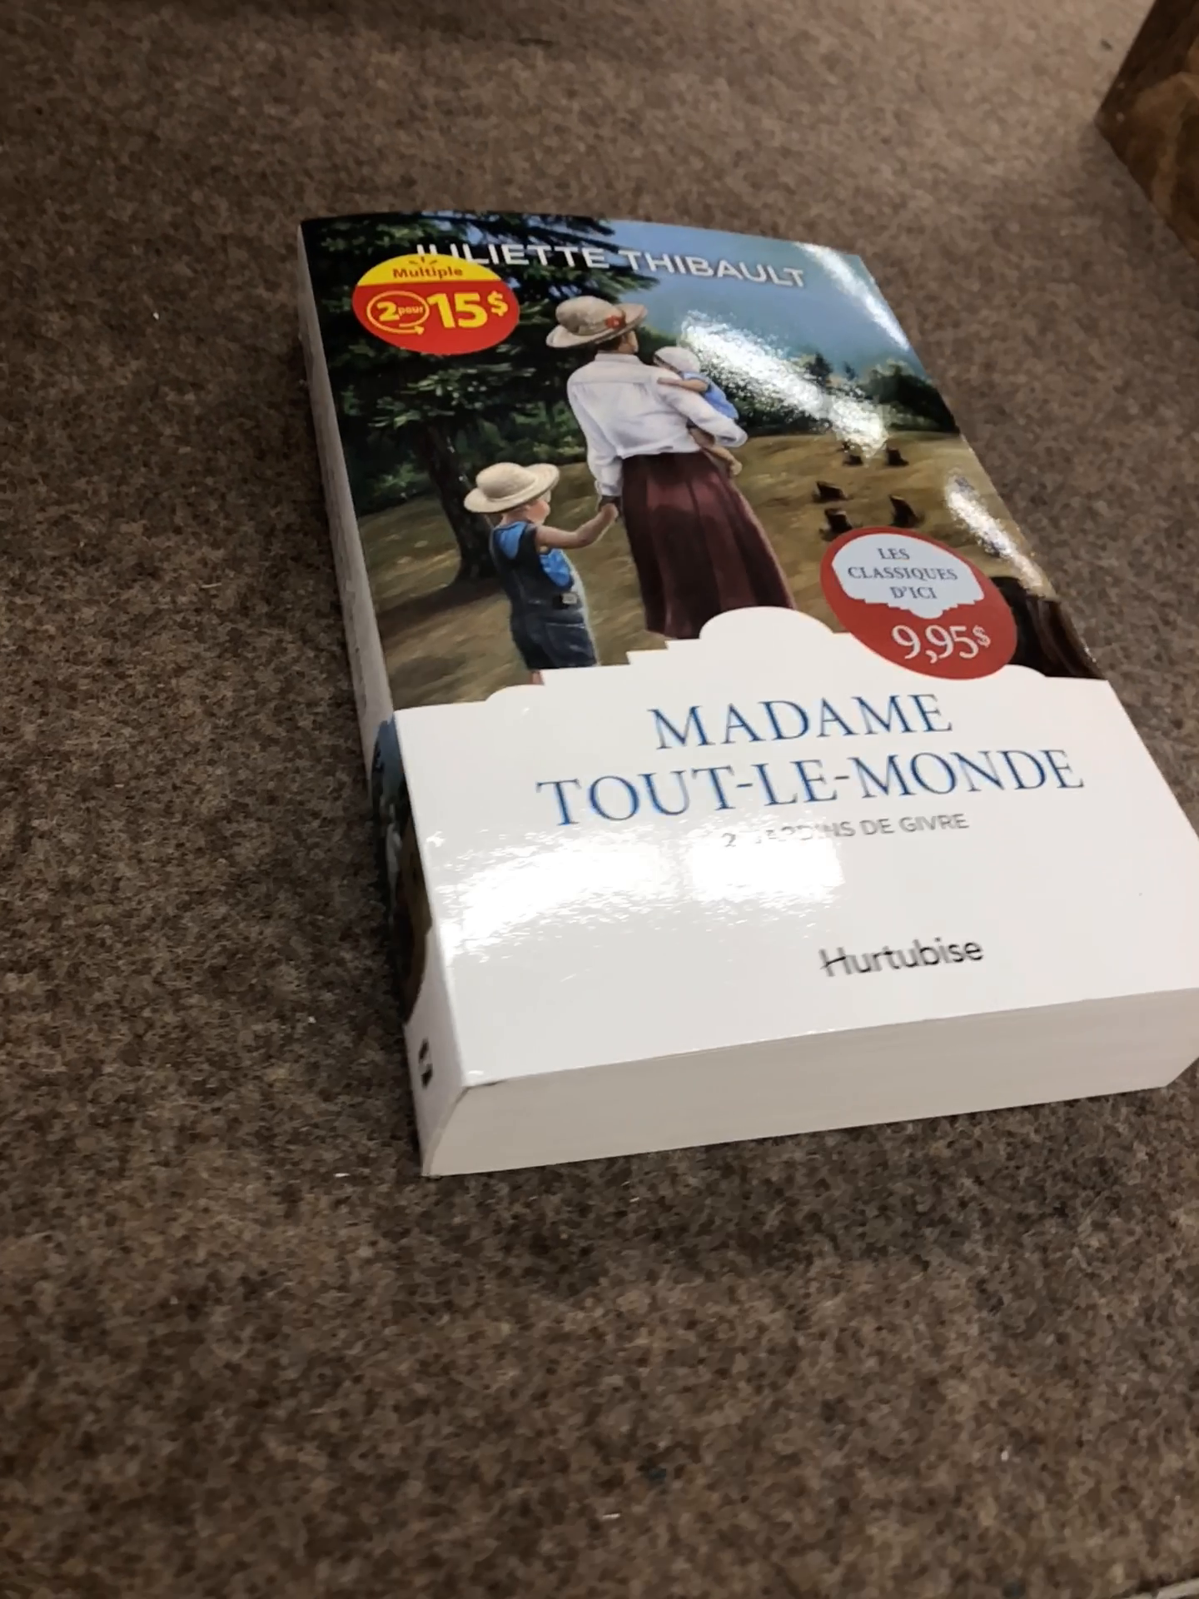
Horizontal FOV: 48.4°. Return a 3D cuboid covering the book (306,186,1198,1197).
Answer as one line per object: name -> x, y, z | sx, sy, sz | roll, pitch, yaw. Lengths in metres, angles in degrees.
book -> 0.028, -0.042, 0.293 | 0.160, 0.050, 0.222 | -3, 56, -17
